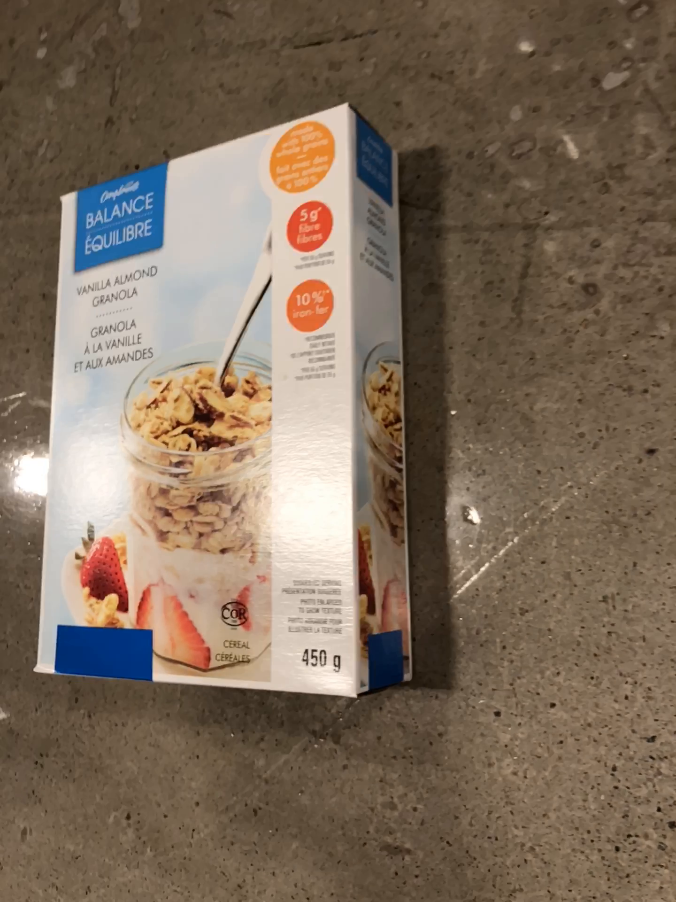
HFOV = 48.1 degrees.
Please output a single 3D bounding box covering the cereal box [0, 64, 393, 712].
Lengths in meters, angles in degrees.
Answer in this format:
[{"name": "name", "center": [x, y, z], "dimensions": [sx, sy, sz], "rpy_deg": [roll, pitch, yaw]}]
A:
[{"name": "cereal box", "center": [-0.076, -0.019, 0.341], "dimensions": [0.190, 0.050, 0.240], "rpy_deg": [-5, 82, 28]}]
